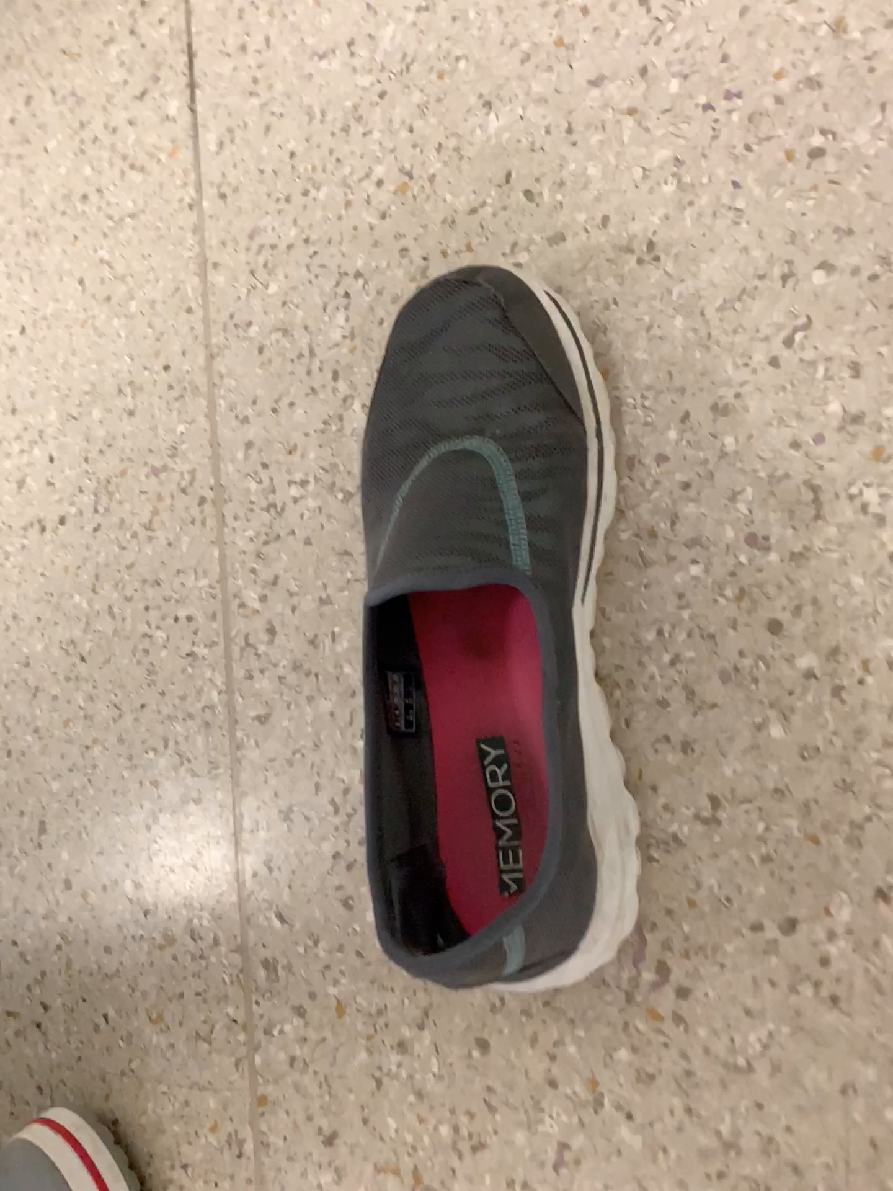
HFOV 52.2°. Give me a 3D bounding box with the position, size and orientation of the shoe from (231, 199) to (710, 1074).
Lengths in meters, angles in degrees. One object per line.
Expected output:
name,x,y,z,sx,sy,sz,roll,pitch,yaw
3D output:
shoe,0.004,0.014,0.303,0.103,0.075,0.239,-14,79,29
